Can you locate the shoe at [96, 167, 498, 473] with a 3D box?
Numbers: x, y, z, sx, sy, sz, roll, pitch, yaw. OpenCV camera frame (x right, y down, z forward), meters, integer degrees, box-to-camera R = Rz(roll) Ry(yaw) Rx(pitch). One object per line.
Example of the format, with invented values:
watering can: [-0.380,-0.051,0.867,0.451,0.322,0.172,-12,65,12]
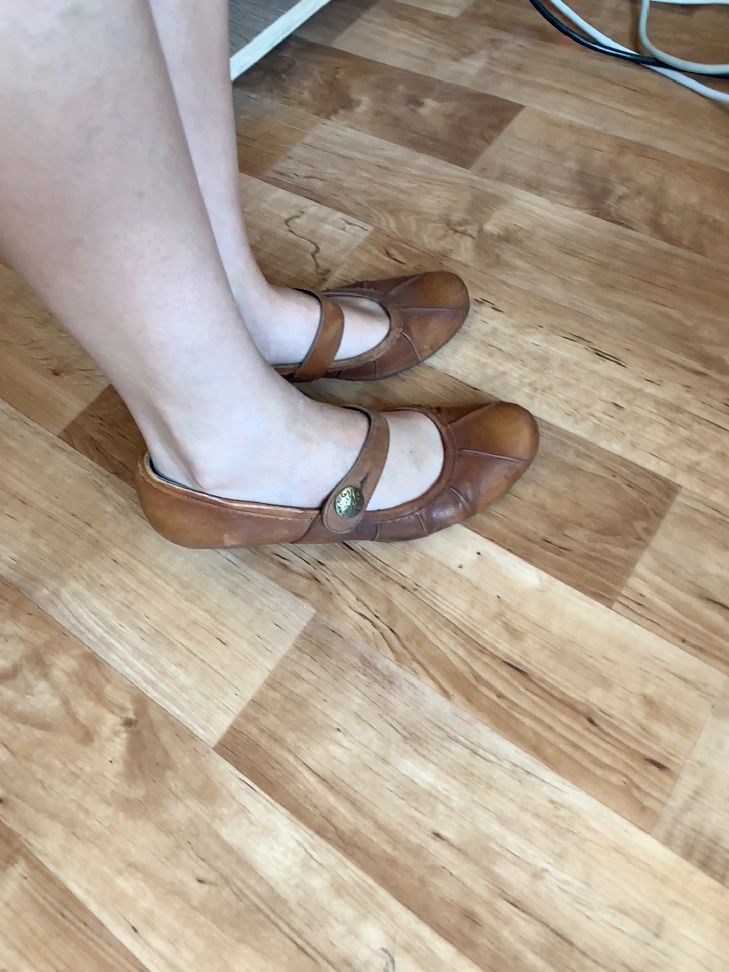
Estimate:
shoe: [-0.041,-0.117,0.525,0.250,0.090,0.090,-25,60,-8]

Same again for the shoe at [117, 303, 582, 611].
shoe: [-0.009,-0.016,0.461,0.250,0.090,0.090,-17,59,-4]
